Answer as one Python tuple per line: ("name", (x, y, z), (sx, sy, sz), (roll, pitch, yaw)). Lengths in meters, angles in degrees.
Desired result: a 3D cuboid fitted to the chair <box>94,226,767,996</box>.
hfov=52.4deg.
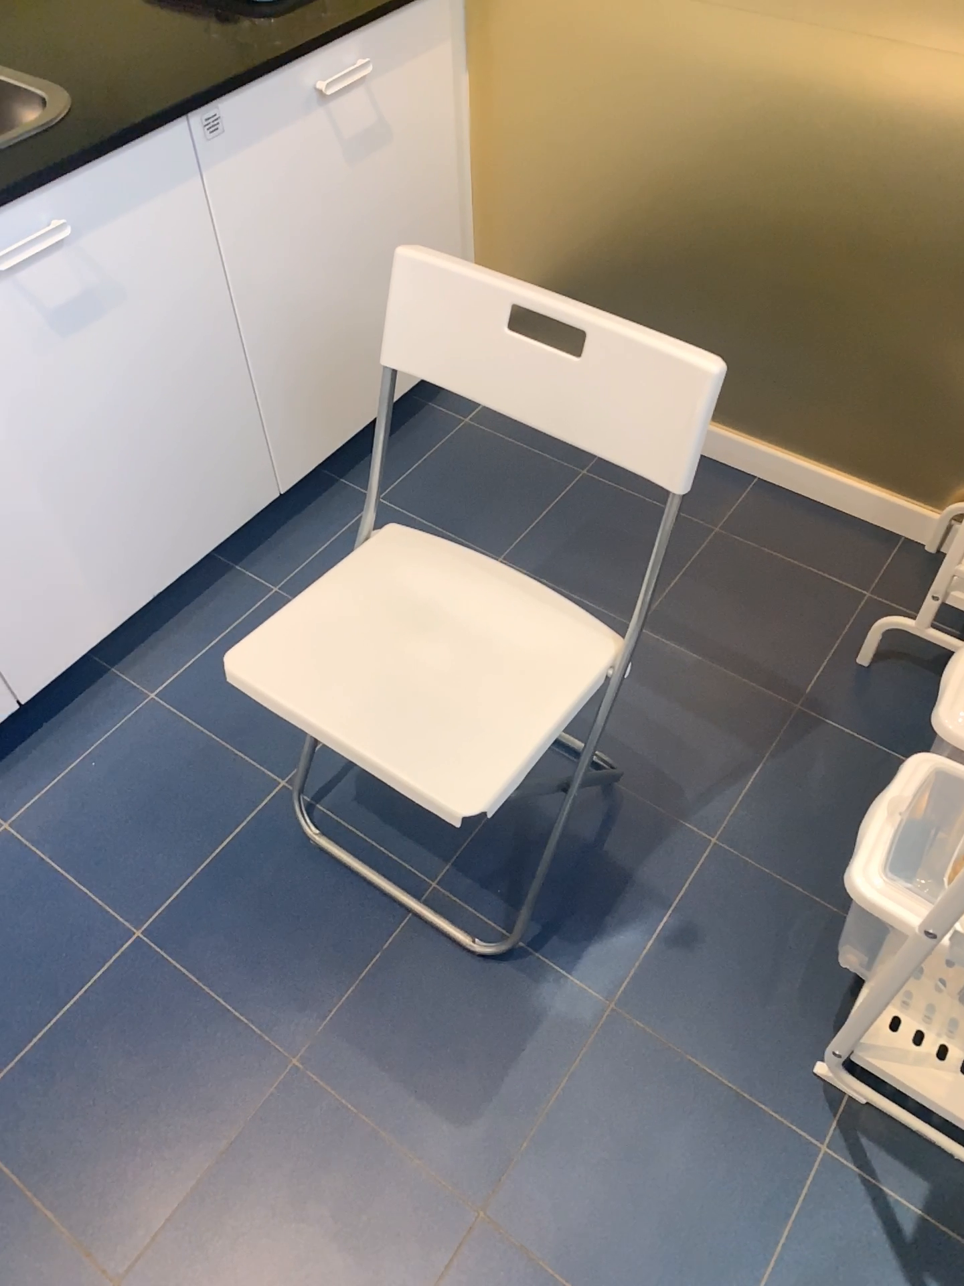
("chair", (-0.033, -0.013, 1.202), (0.461, 0.708, 0.451), (29, 57, 23))
